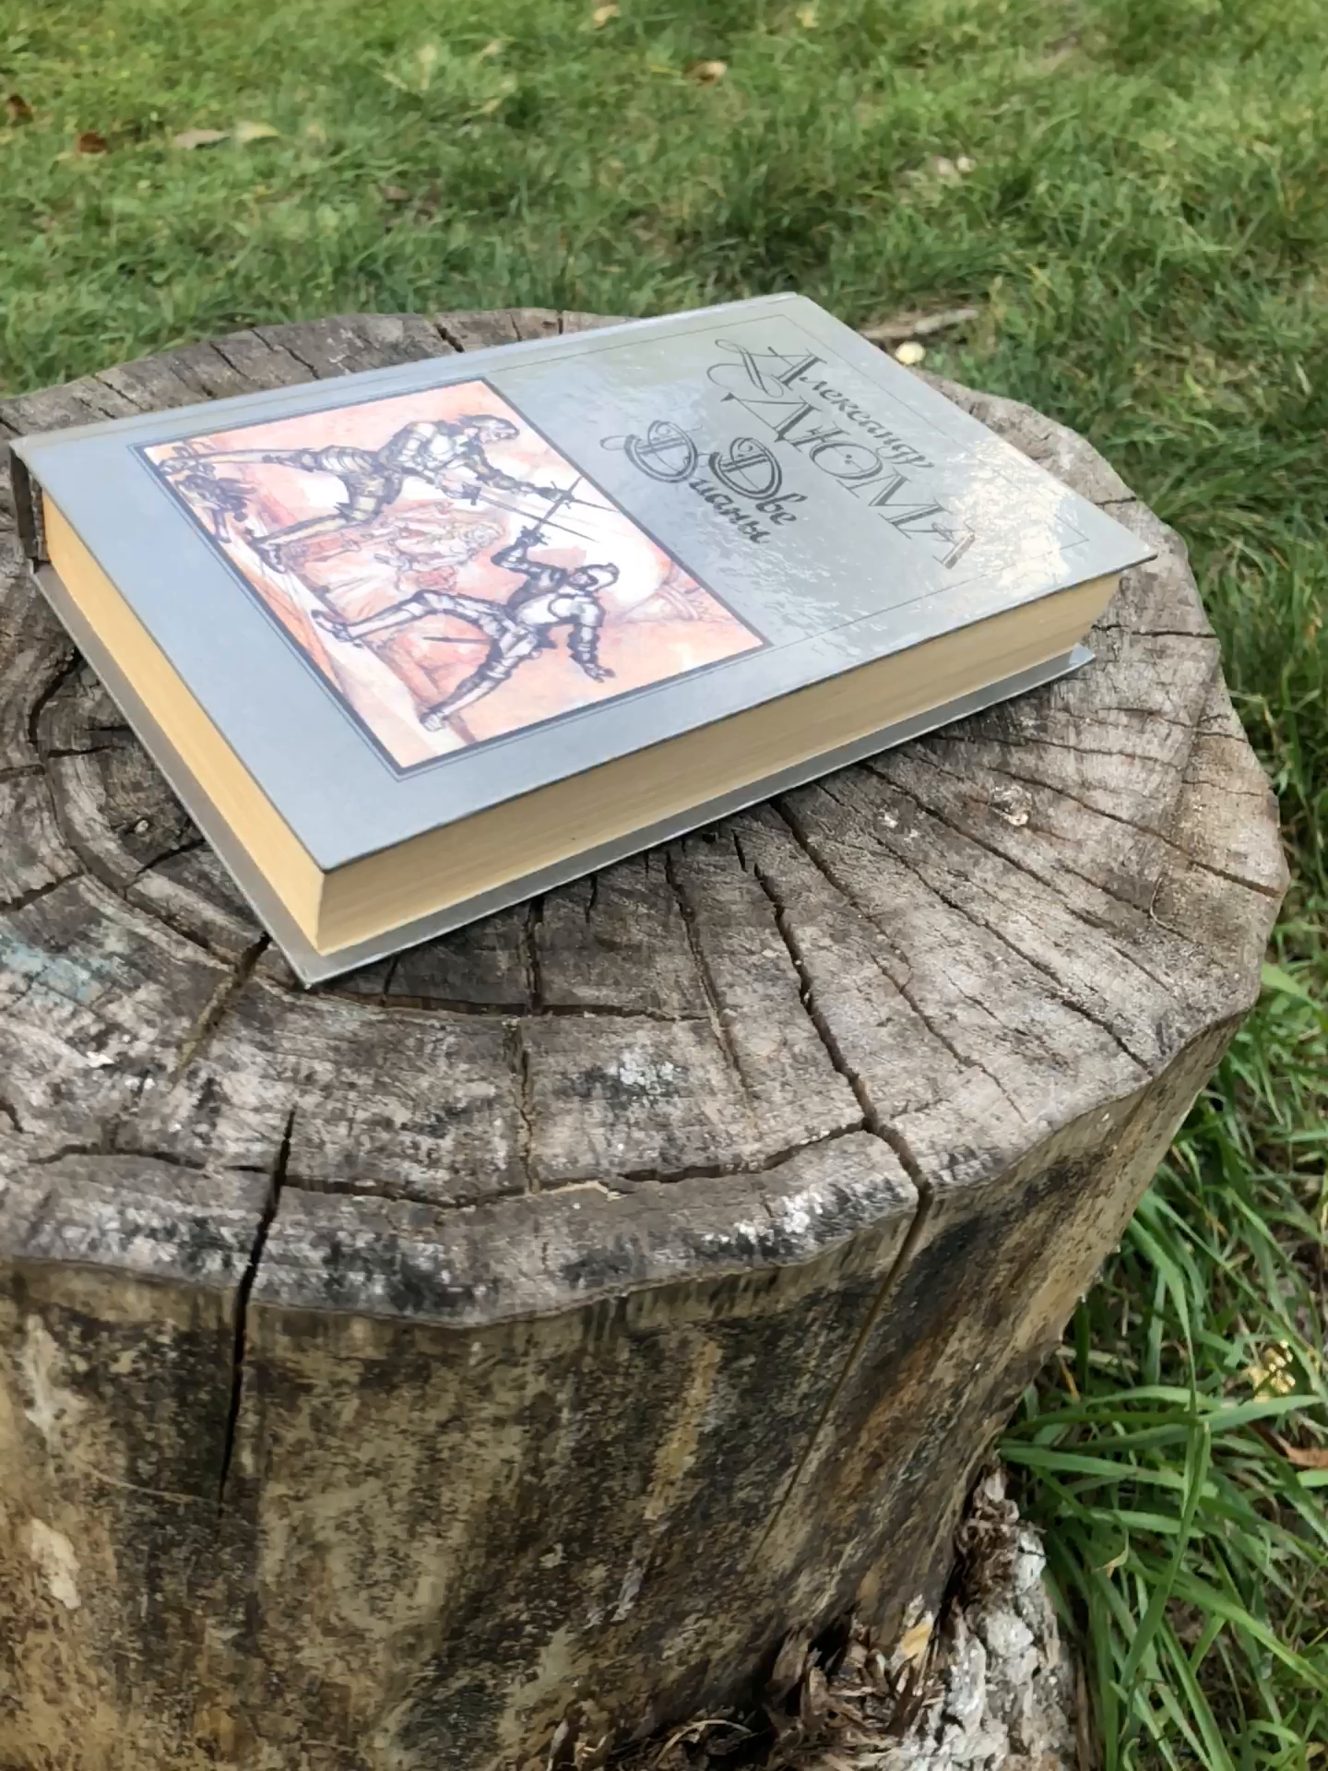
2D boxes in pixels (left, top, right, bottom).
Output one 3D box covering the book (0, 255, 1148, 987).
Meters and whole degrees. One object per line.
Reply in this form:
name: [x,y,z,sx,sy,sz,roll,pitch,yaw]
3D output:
book: [-0.020,-0.075,0.314,0.204,0.030,0.140,-24,55,-29]
